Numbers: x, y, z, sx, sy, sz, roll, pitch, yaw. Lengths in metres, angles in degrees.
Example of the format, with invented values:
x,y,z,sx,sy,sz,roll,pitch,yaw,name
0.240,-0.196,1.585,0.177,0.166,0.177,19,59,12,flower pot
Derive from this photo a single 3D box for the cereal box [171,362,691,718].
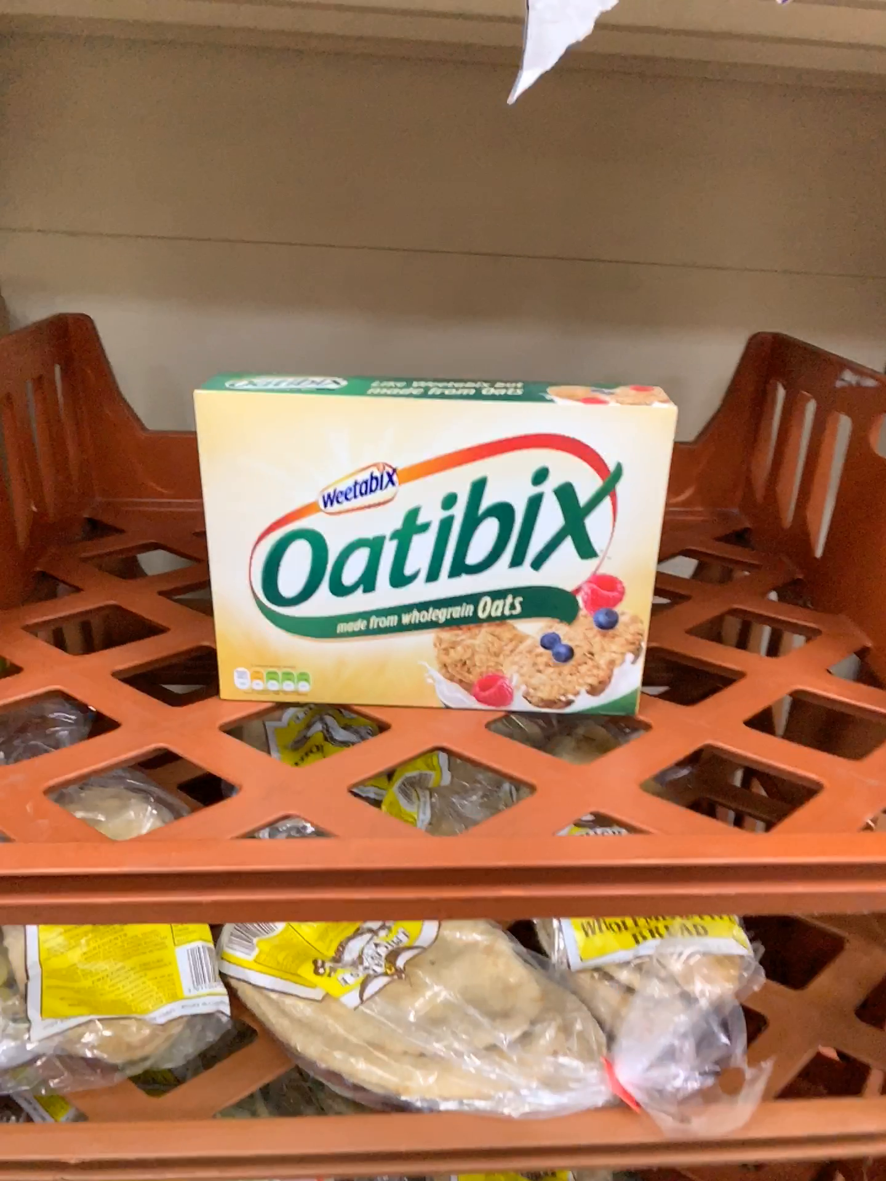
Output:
x,y,z,sx,sy,sz,roll,pitch,yaw,name
-0.008,-0.029,0.519,0.260,0.179,0.071,3,23,1,cereal box
